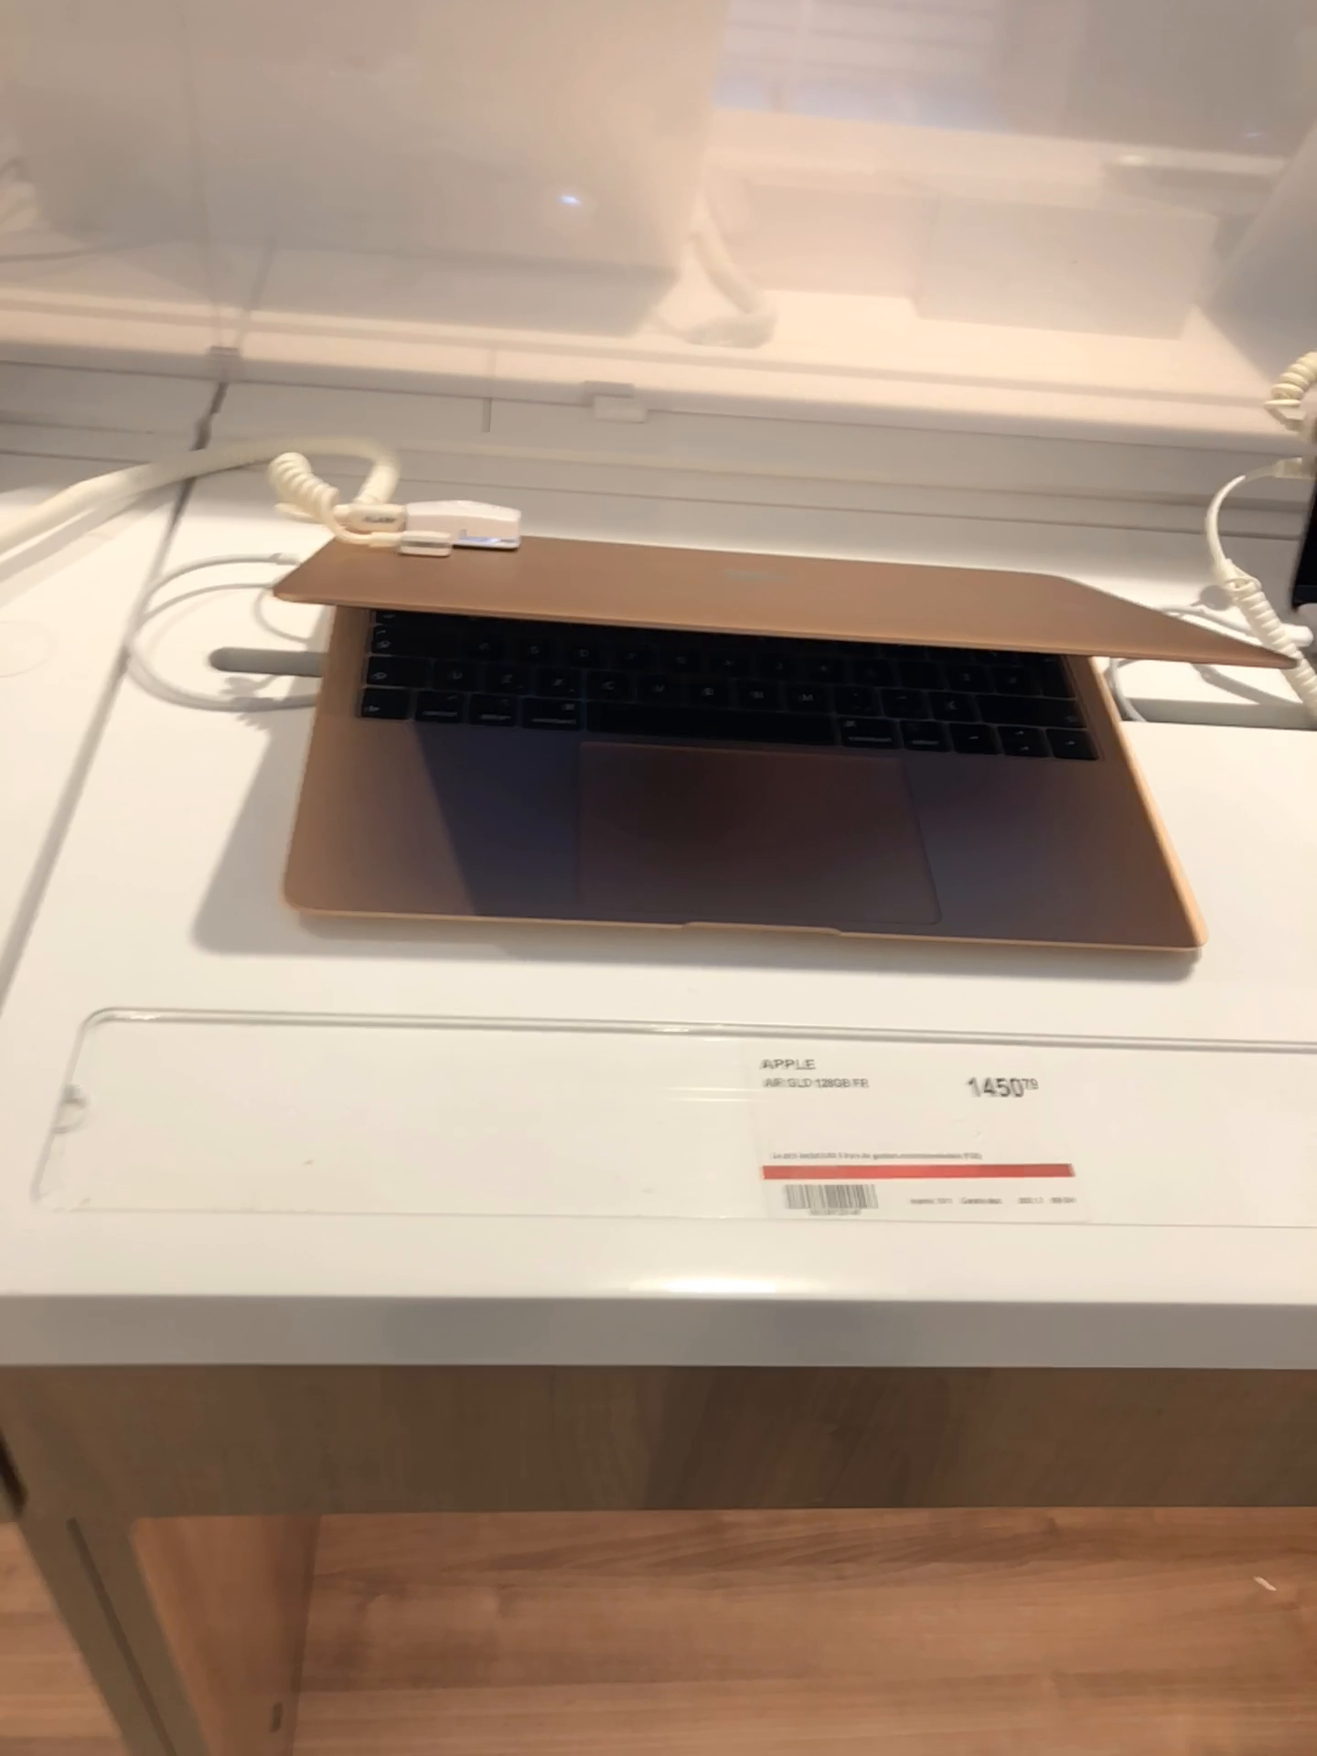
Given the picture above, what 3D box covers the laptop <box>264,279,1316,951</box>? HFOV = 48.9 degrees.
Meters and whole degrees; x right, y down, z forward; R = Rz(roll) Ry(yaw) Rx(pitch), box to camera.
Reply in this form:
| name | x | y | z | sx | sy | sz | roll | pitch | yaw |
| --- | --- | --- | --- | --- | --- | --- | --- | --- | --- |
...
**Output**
| name | x | y | z | sx | sy | sz | roll | pitch | yaw |
| --- | --- | --- | --- | --- | --- | --- | --- | --- | --- |
| laptop | 0.028 | -0.103 | 0.510 | 0.298 | 0.104 | 0.226 | 3 | 43 | -3 |
